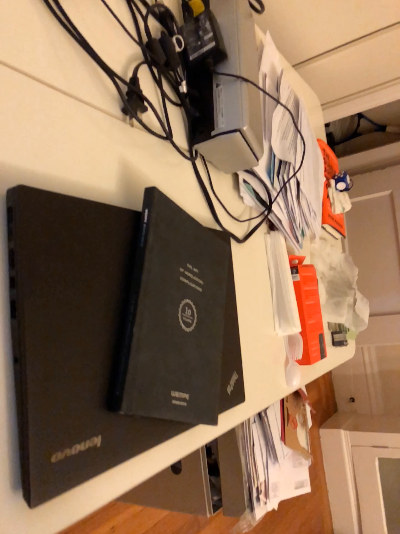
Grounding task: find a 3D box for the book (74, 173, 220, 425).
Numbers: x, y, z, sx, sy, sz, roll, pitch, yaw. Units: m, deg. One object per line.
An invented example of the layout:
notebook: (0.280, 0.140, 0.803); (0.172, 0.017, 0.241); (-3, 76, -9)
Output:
book: (-0.039, 0.043, 0.457); (0.171, 0.030, 0.220); (33, 54, -51)
